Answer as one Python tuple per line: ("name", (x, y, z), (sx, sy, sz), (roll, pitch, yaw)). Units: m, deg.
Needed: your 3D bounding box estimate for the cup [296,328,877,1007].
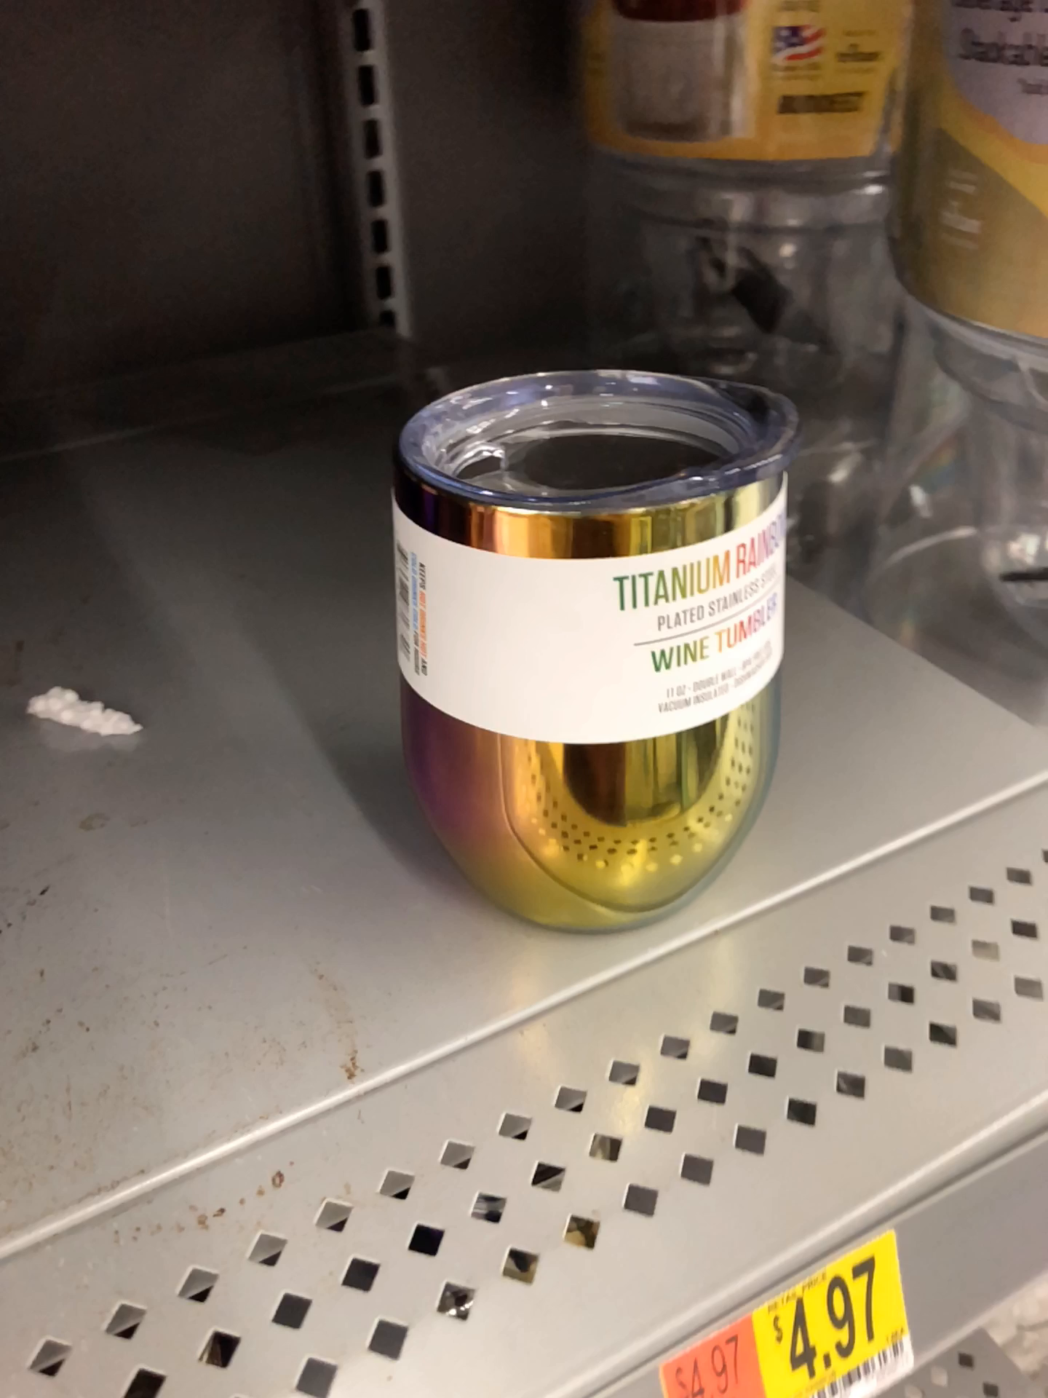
("cup", (0.011, -0.011, 0.261), (0.086, 0.108, 0.076), (-20, 39, -25))
